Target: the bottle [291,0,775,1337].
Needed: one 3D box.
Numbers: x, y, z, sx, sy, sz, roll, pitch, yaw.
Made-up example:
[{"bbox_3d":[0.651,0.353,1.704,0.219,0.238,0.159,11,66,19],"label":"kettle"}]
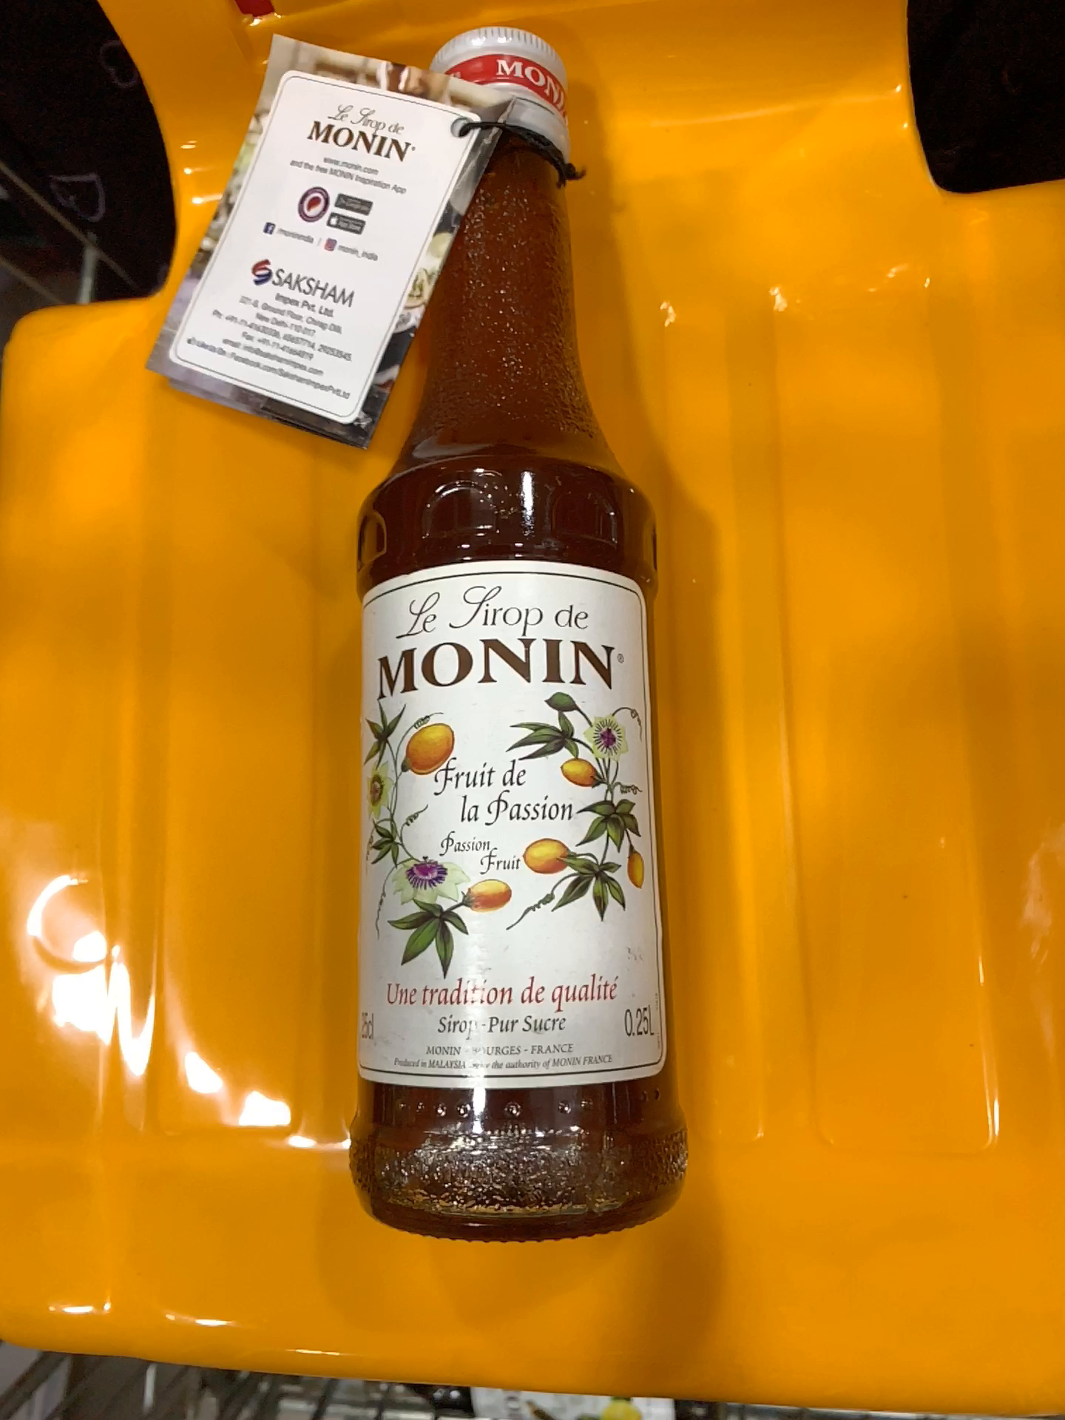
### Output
[{"bbox_3d":[0.001,-0.027,0.184,0.060,0.060,0.220,-4,81,10],"label":"bottle"}]
